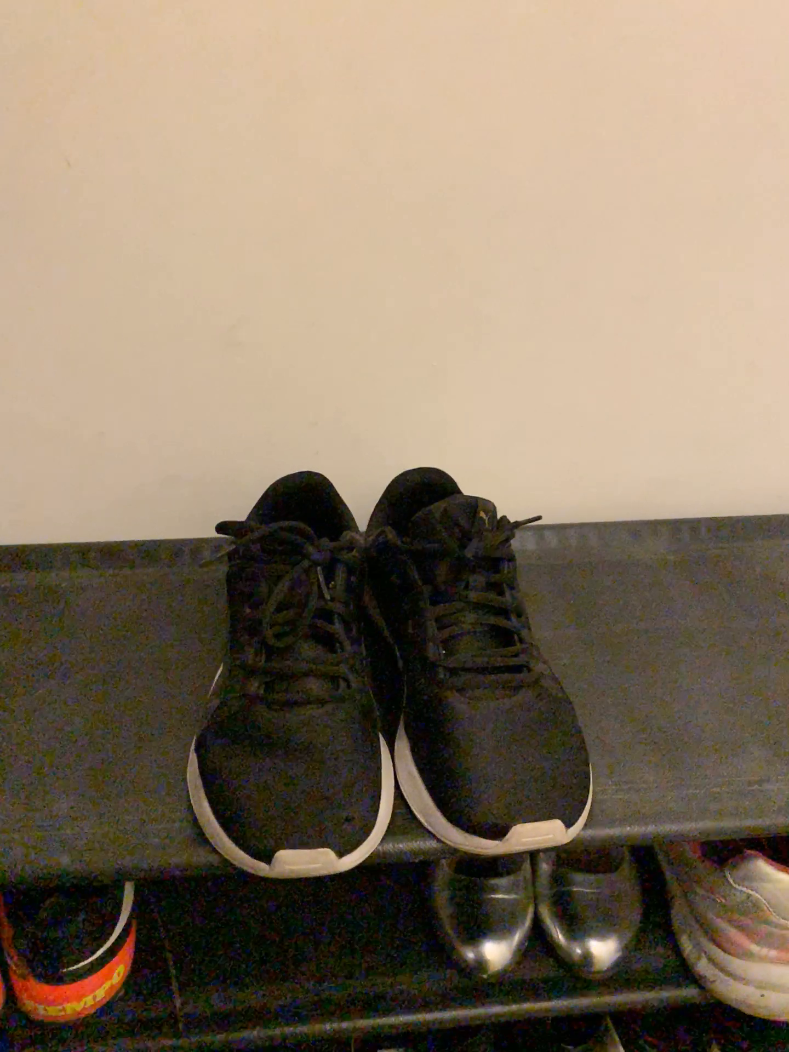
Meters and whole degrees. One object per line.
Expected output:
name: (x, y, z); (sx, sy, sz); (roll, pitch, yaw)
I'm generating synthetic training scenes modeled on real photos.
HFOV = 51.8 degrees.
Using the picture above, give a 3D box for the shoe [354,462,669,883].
shoe: (0.044, 0.058, 0.464); (0.110, 0.069, 0.262); (-3, 33, -7)

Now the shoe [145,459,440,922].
shoe: (-0.054, 0.063, 0.430); (0.110, 0.089, 0.242); (-3, 33, -7)
